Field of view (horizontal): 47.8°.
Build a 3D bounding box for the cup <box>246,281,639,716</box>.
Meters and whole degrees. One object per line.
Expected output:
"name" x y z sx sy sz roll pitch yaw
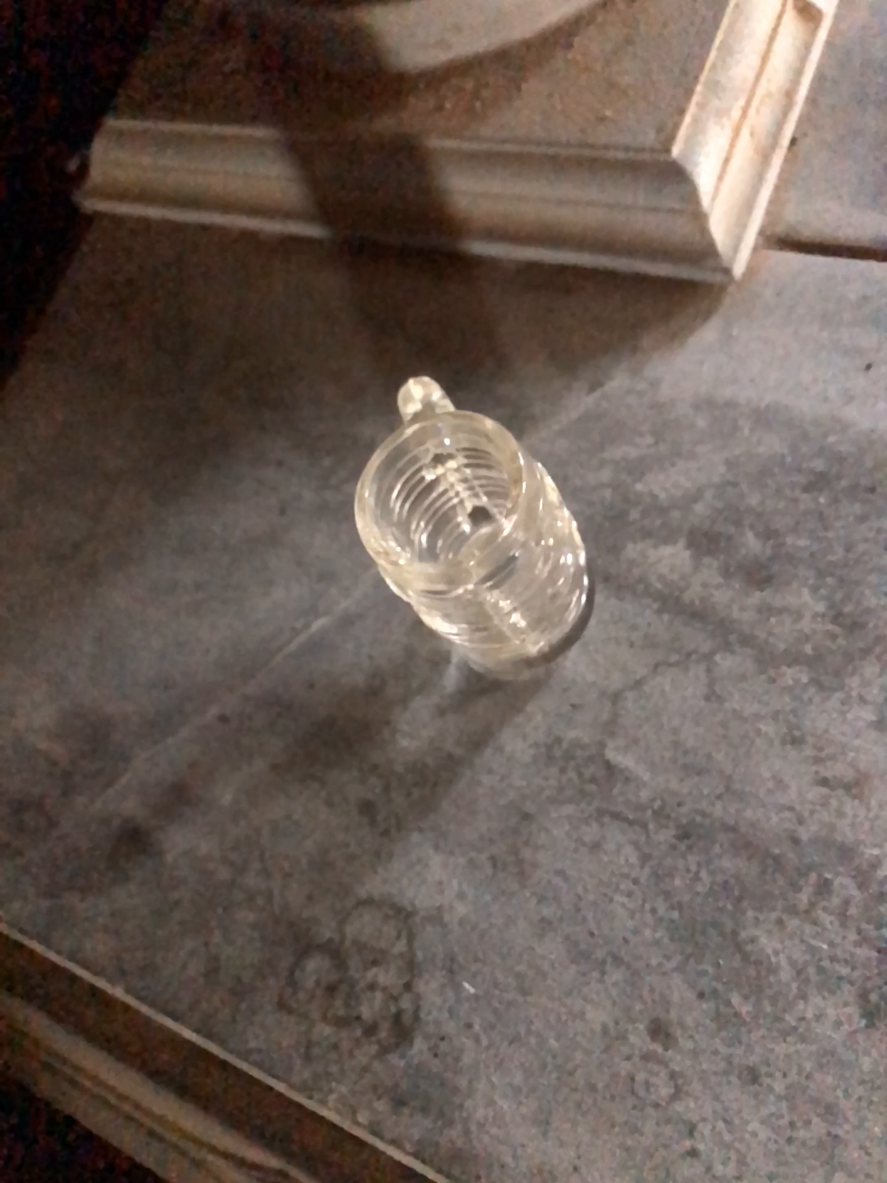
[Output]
"cup" 0.001 -0.016 0.199 0.040 0.050 0.060 -36 62 5
